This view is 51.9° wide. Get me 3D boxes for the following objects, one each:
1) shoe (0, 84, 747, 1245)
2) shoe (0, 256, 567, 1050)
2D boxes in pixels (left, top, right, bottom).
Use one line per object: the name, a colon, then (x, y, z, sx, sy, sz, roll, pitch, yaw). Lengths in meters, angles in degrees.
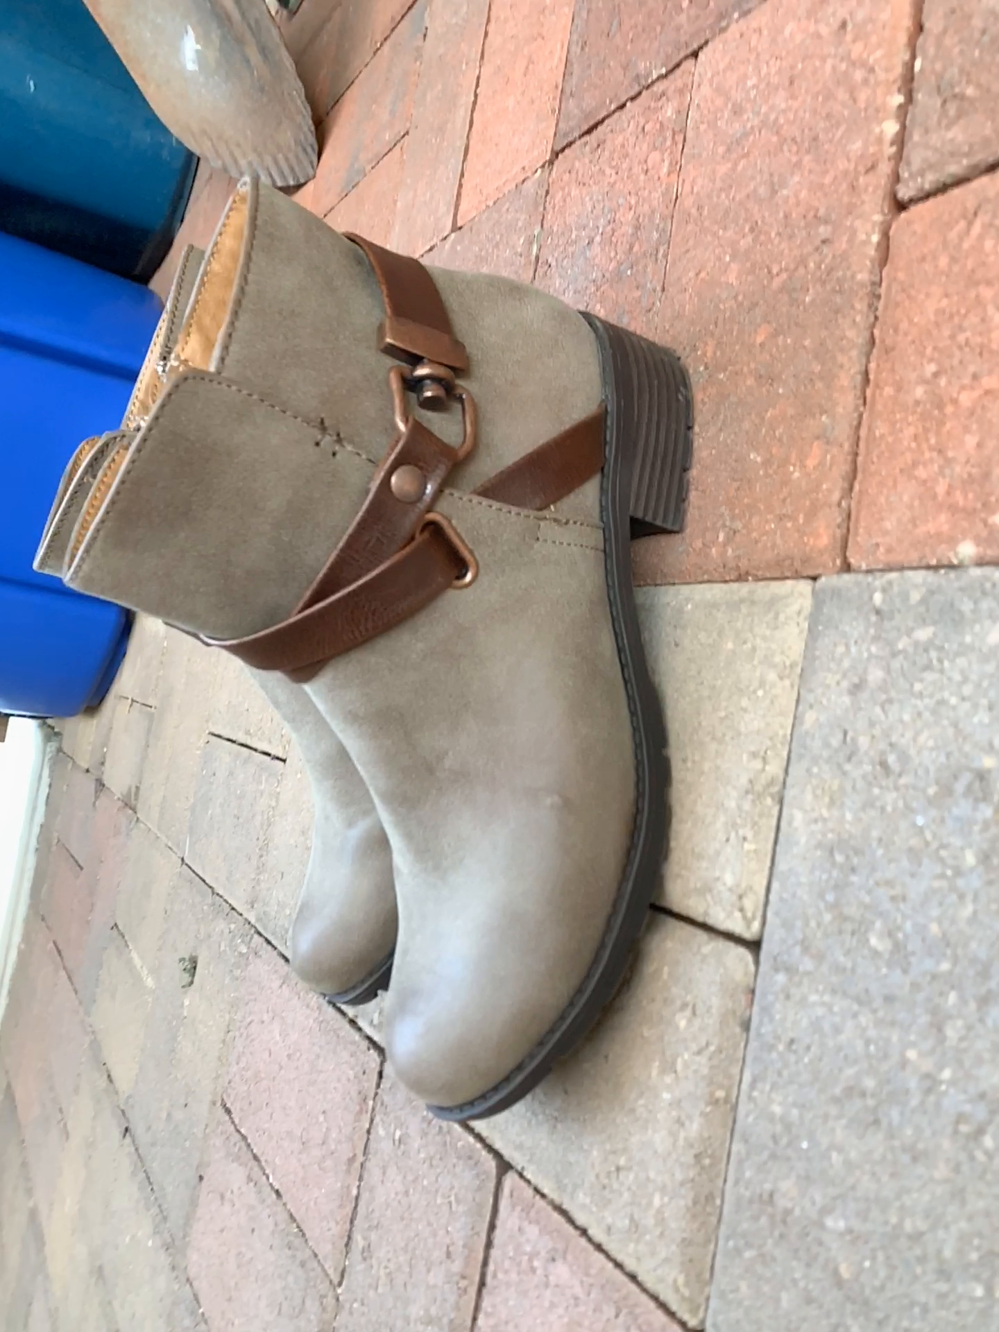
shoe: (-0.041, 0.007, 0.298, 0.096, 0.165, 0.250, 1, 81, 62)
shoe: (-0.089, 0.006, 0.383, 0.096, 0.165, 0.238, 4, 84, 63)
